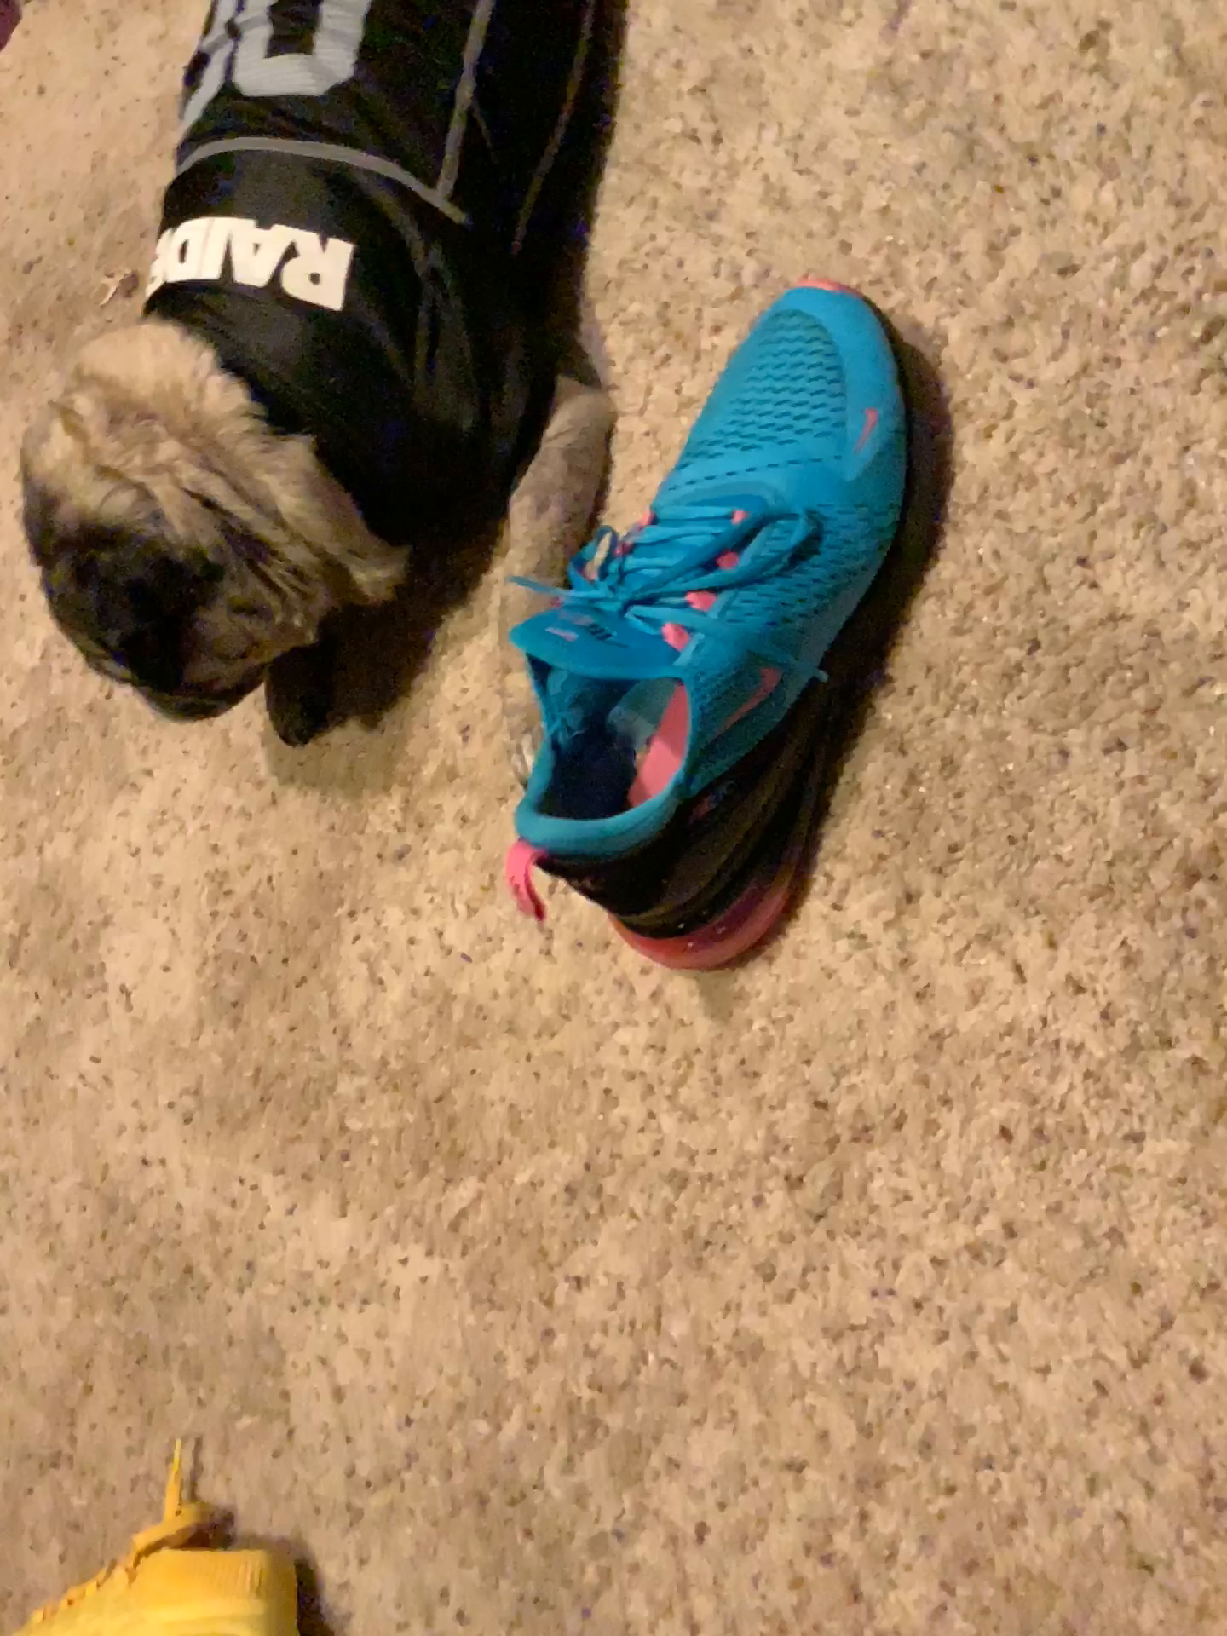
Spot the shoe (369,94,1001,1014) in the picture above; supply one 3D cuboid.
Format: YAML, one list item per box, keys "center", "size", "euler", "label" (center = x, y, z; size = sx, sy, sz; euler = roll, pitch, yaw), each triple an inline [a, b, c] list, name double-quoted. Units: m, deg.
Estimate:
- center: [0.034, -0.102, 0.588]
  size: [0.130, 0.140, 0.340]
  euler: [16, 90, 39]
  label: "shoe"
